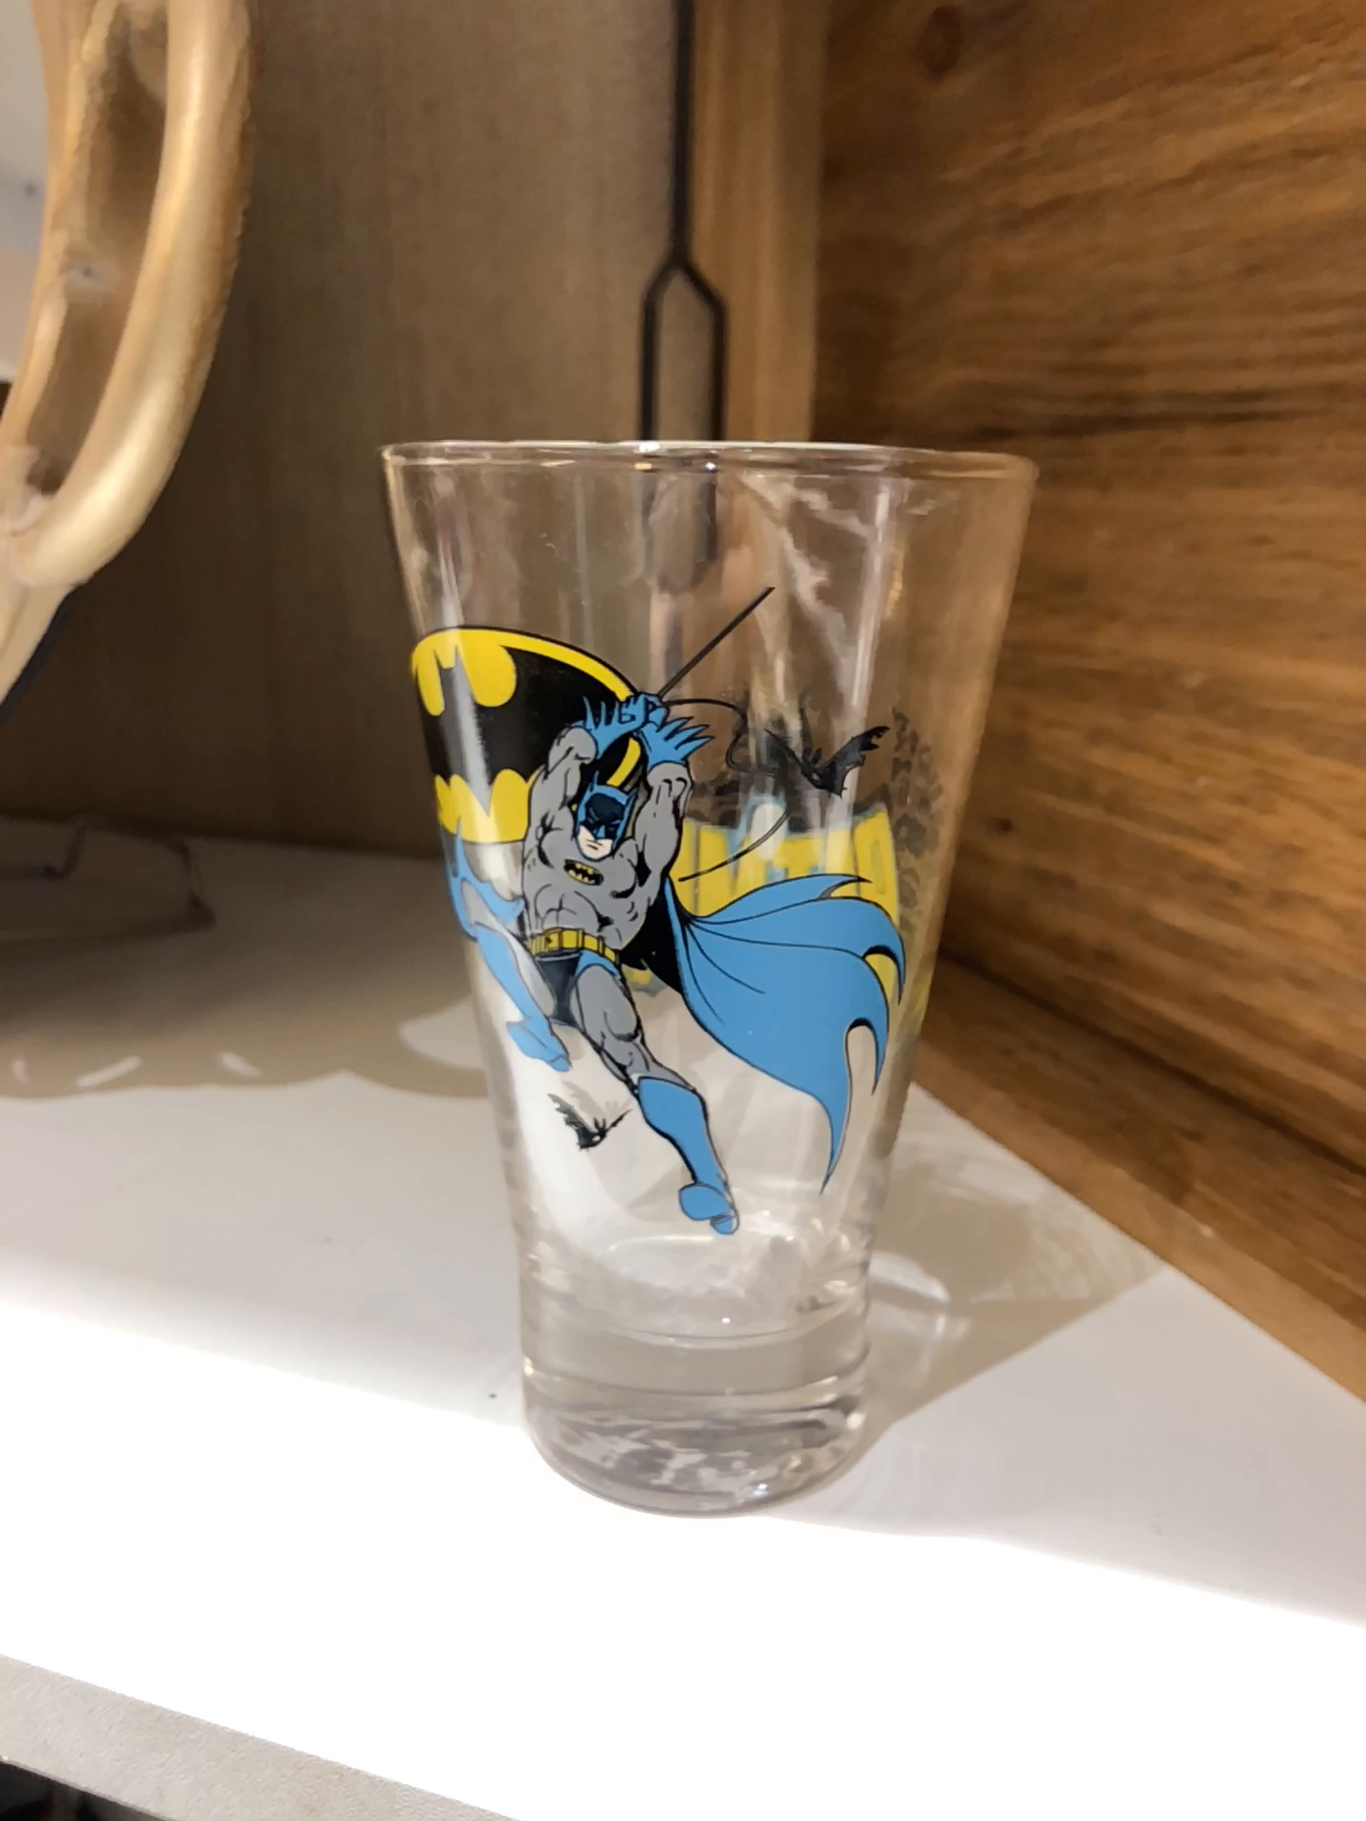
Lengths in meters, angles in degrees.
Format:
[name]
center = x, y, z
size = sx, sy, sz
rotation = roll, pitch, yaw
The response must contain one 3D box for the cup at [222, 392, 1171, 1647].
[cup]
center = 0.005, 0.002, 0.206
size = 0.090, 0.129, 0.080
rotation = 8, 16, 28
